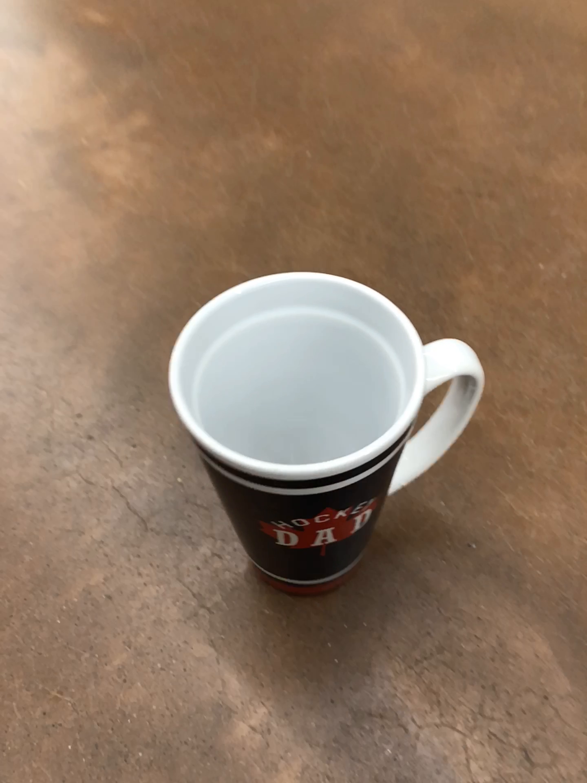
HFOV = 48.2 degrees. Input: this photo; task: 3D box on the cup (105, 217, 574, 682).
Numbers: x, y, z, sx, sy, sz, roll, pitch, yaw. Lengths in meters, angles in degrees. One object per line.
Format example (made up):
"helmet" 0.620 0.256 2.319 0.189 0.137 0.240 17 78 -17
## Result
"cup" 0.016 0.028 0.274 0.130 0.130 0.090 -28 57 -17
